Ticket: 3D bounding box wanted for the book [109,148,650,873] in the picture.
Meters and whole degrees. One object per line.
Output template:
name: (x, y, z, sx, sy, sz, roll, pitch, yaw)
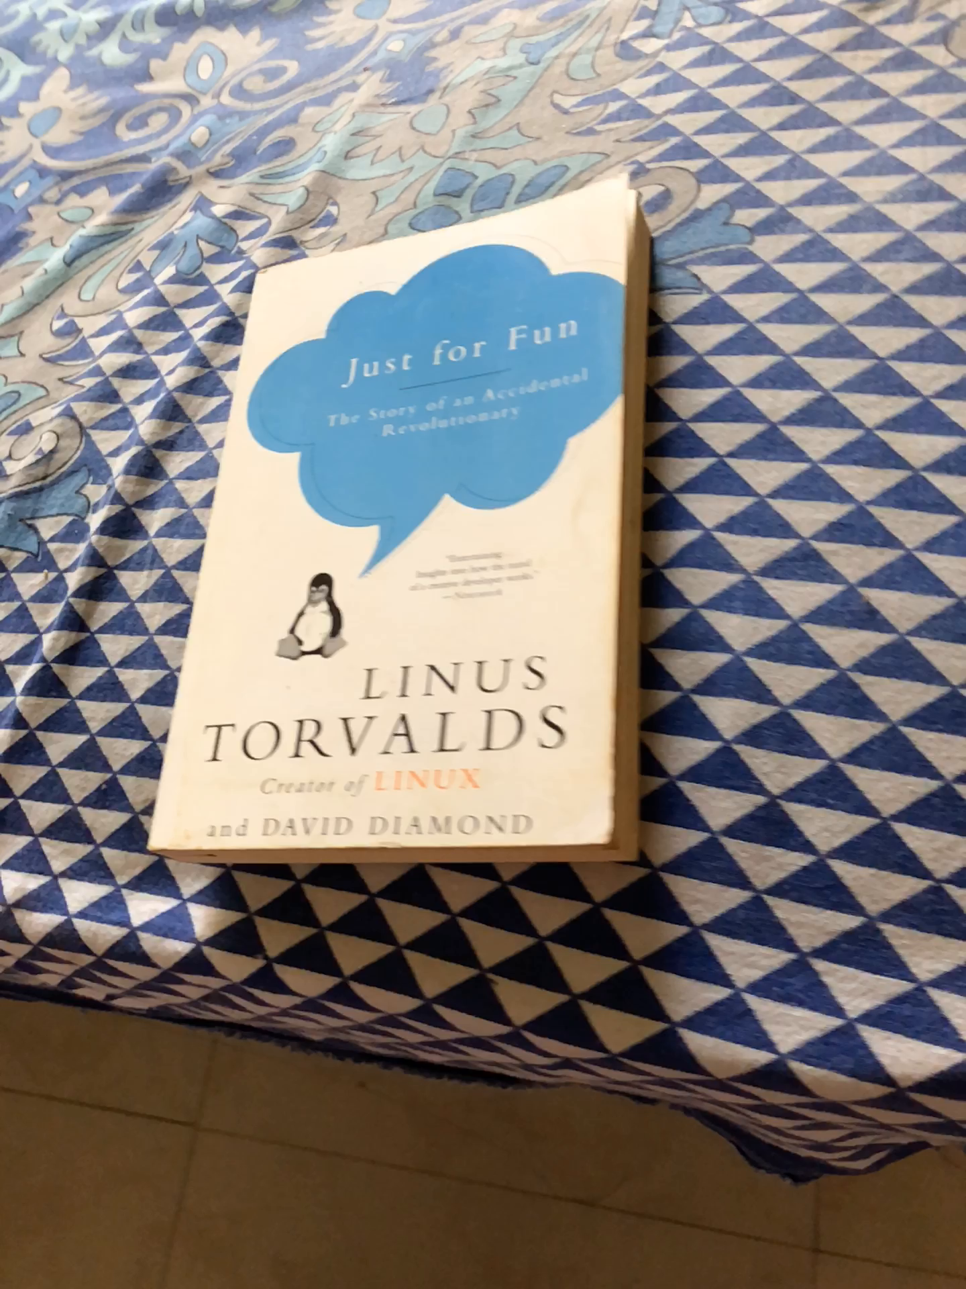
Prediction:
book: (-0.024, -0.040, 0.321, 0.140, 0.030, 0.210, -5, 66, 22)
